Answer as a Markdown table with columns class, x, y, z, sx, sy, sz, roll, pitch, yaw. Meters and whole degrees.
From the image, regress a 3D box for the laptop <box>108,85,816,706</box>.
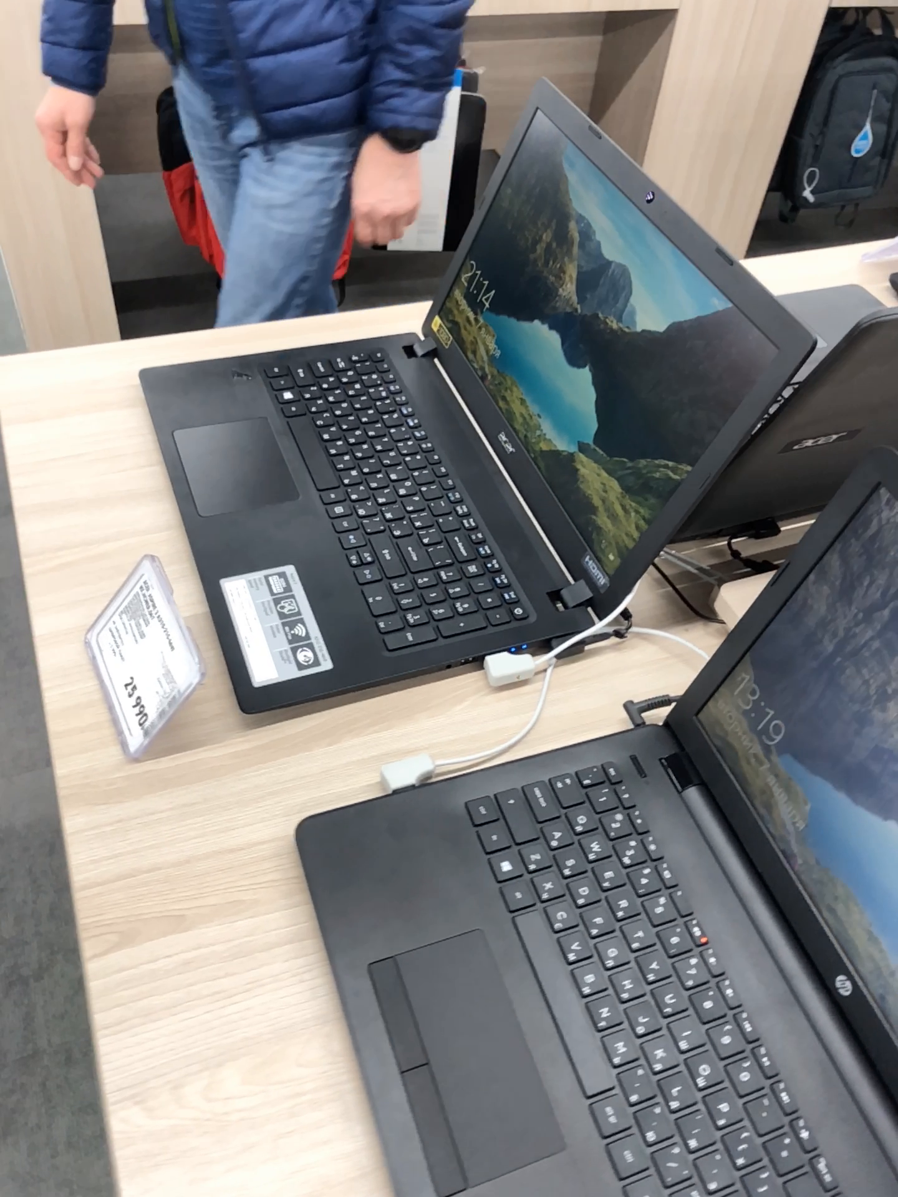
| class | x | y | z | sx | sy | sz | roll | pitch | yaw |
| --- | --- | --- | --- | --- | --- | --- | --- | --- | --- |
| laptop | -0.024 | -0.175 | 0.717 | 0.347 | 0.219 | 0.375 | -13 | 50 | -17 |

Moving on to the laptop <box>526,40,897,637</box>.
| class | x | y | z | sx | sy | sz | roll | pitch | yaw |
| --- | --- | --- | --- | --- | --- | --- | --- | --- | --- |
| laptop | 0.340 | -0.237 | 0.789 | 0.401 | 0.250 | 0.397 | -13 | 49 | -17 |

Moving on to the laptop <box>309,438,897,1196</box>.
| class | x | y | z | sx | sy | sz | roll | pitch | yaw |
| --- | --- | --- | --- | --- | --- | --- | --- | --- | --- |
| laptop | 0.123 | 0.160 | 0.421 | 0.295 | 0.221 | 0.360 | -13 | 50 | -16 |
